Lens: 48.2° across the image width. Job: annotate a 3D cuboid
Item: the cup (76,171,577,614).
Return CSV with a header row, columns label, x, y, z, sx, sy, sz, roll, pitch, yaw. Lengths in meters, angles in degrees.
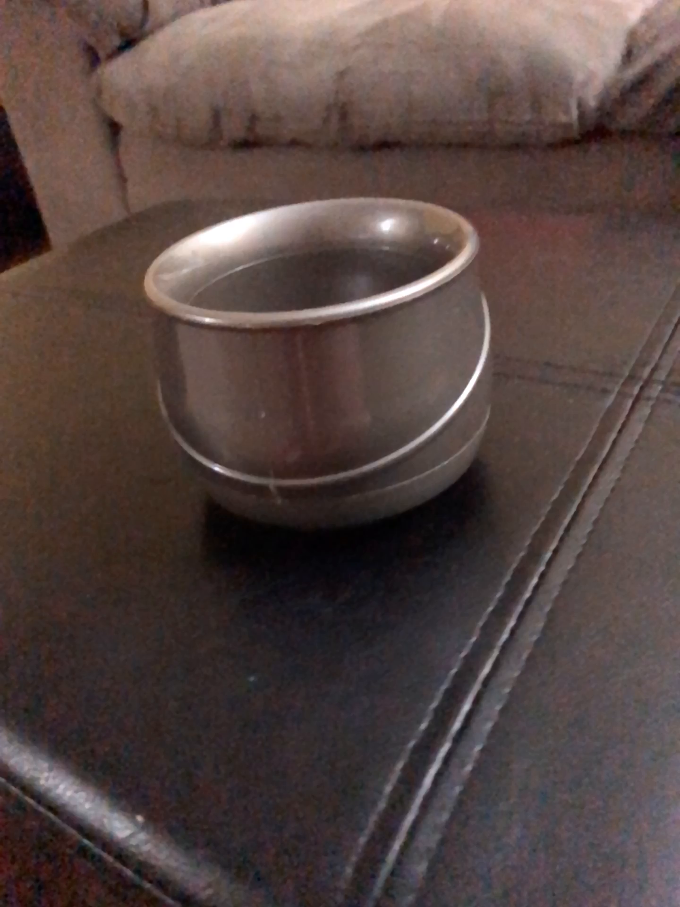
label,x,y,z,sx,sy,sz,roll,pitch,yaw
cup,0.000,-0.026,0.203,0.090,0.066,0.084,-6,33,4
